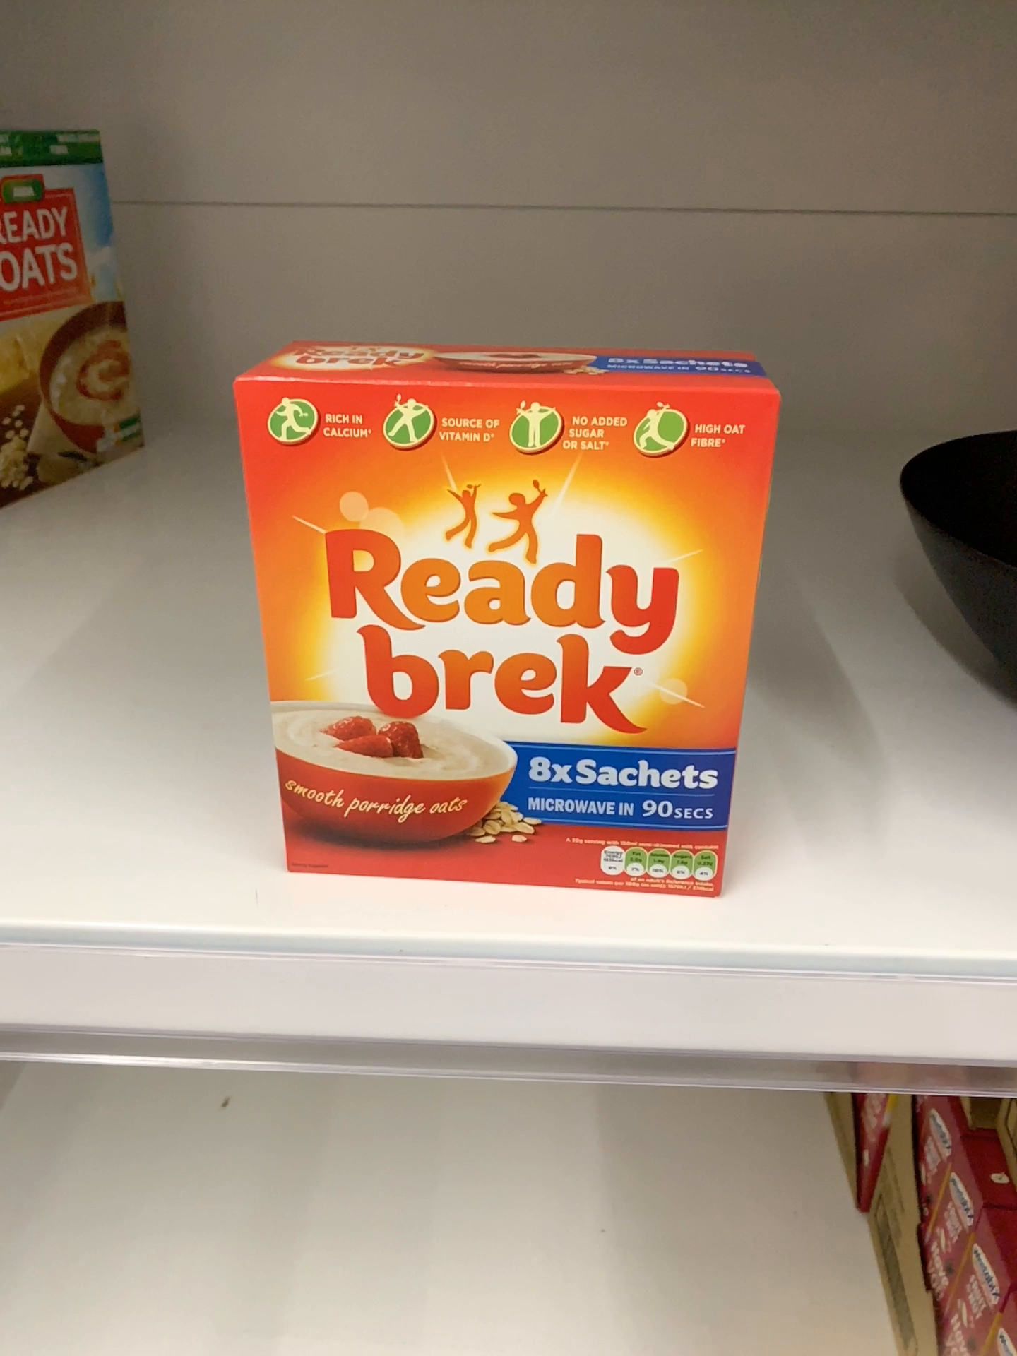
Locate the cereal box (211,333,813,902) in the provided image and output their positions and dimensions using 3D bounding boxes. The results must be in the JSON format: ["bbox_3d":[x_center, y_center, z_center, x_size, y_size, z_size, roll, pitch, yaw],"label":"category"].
[{"bbox_3d":[0.001,-0.021,0.387,0.180,0.188,0.071,3,27,4],"label":"cereal box"}]
